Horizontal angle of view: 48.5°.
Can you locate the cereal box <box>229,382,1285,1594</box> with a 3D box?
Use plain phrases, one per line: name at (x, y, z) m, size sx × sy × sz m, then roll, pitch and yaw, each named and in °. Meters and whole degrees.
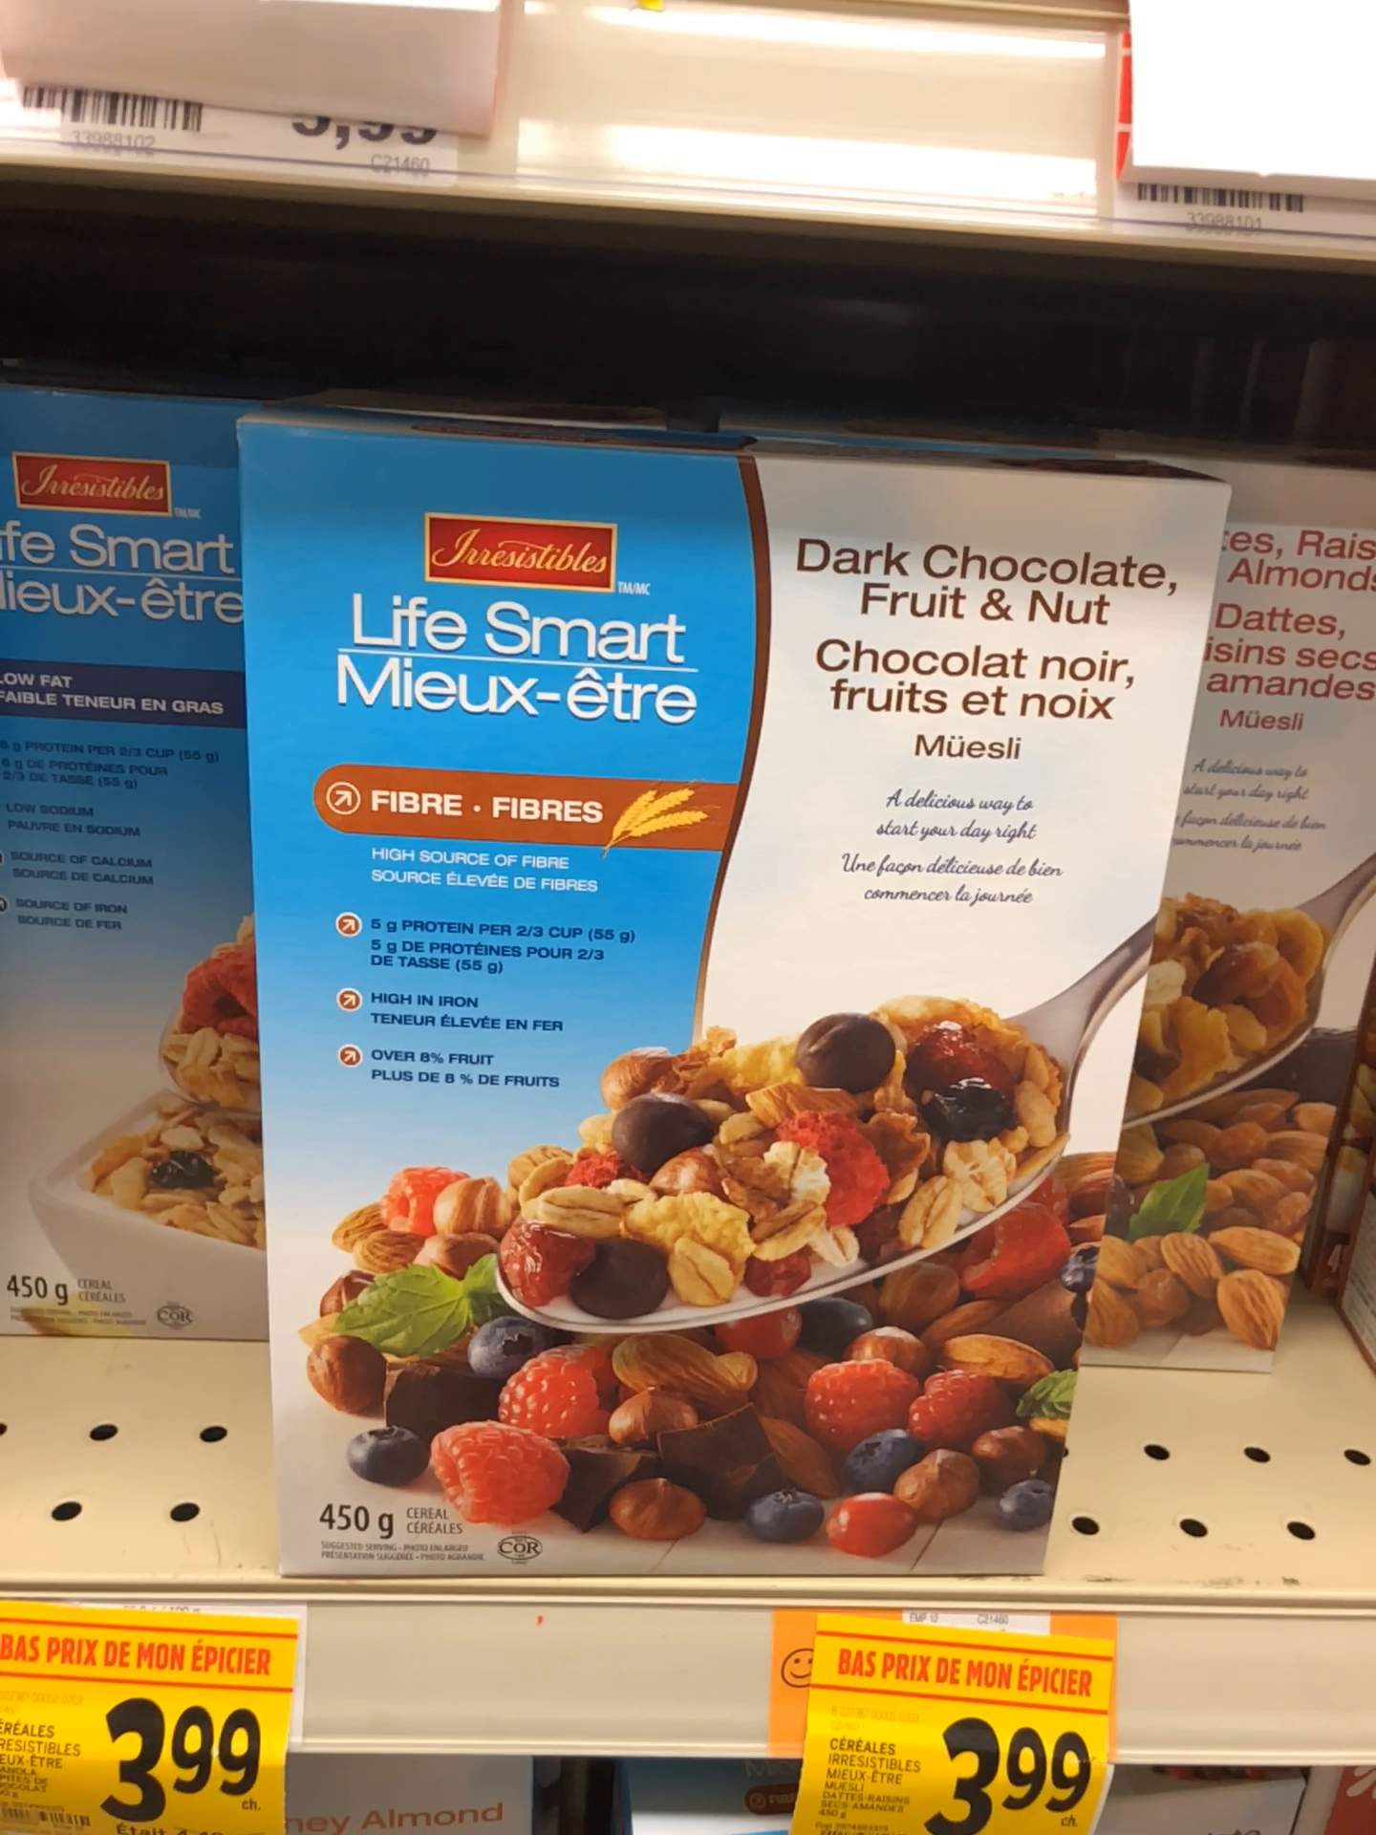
cereal box at (0.004, 0.024, 0.309) m, size 0.170 × 0.238 × 0.050 m, roll 2°, pitch 21°, yaw -4°
